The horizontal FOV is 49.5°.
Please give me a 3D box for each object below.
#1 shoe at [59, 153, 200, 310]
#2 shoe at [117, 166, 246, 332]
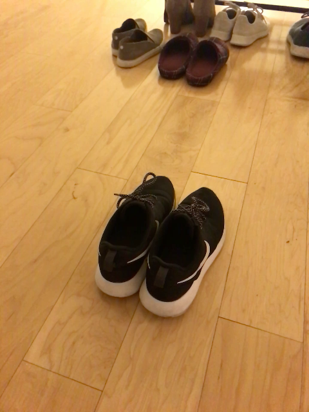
[{"bbox_3d":[-0.029,0.027,0.598,0.130,0.070,0.272,18,49,17],"label":"shoe"},{"bbox_3d":[0.057,0.055,0.574,0.120,0.070,0.272,18,49,17],"label":"shoe"}]
